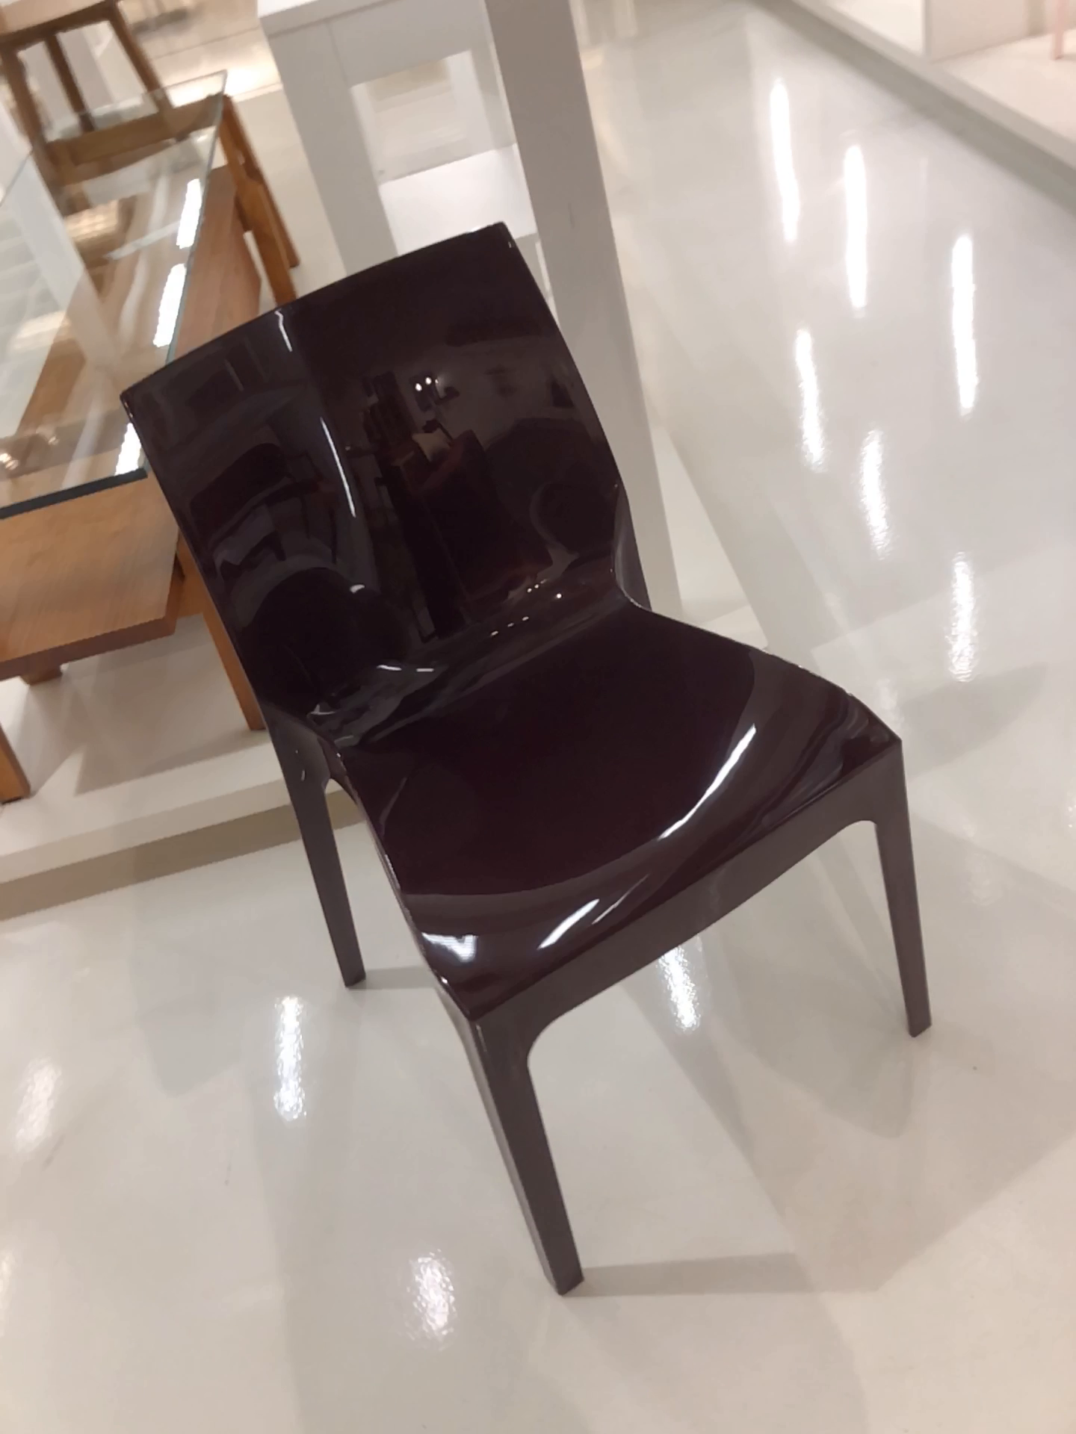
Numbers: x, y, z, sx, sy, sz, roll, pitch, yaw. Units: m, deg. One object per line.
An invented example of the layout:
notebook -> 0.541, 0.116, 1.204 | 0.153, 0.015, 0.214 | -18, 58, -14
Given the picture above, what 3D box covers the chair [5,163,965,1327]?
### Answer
chair -> -0.003, 0.022, 1.143 | 0.531, 0.814, 0.564 | -30, 42, -15
